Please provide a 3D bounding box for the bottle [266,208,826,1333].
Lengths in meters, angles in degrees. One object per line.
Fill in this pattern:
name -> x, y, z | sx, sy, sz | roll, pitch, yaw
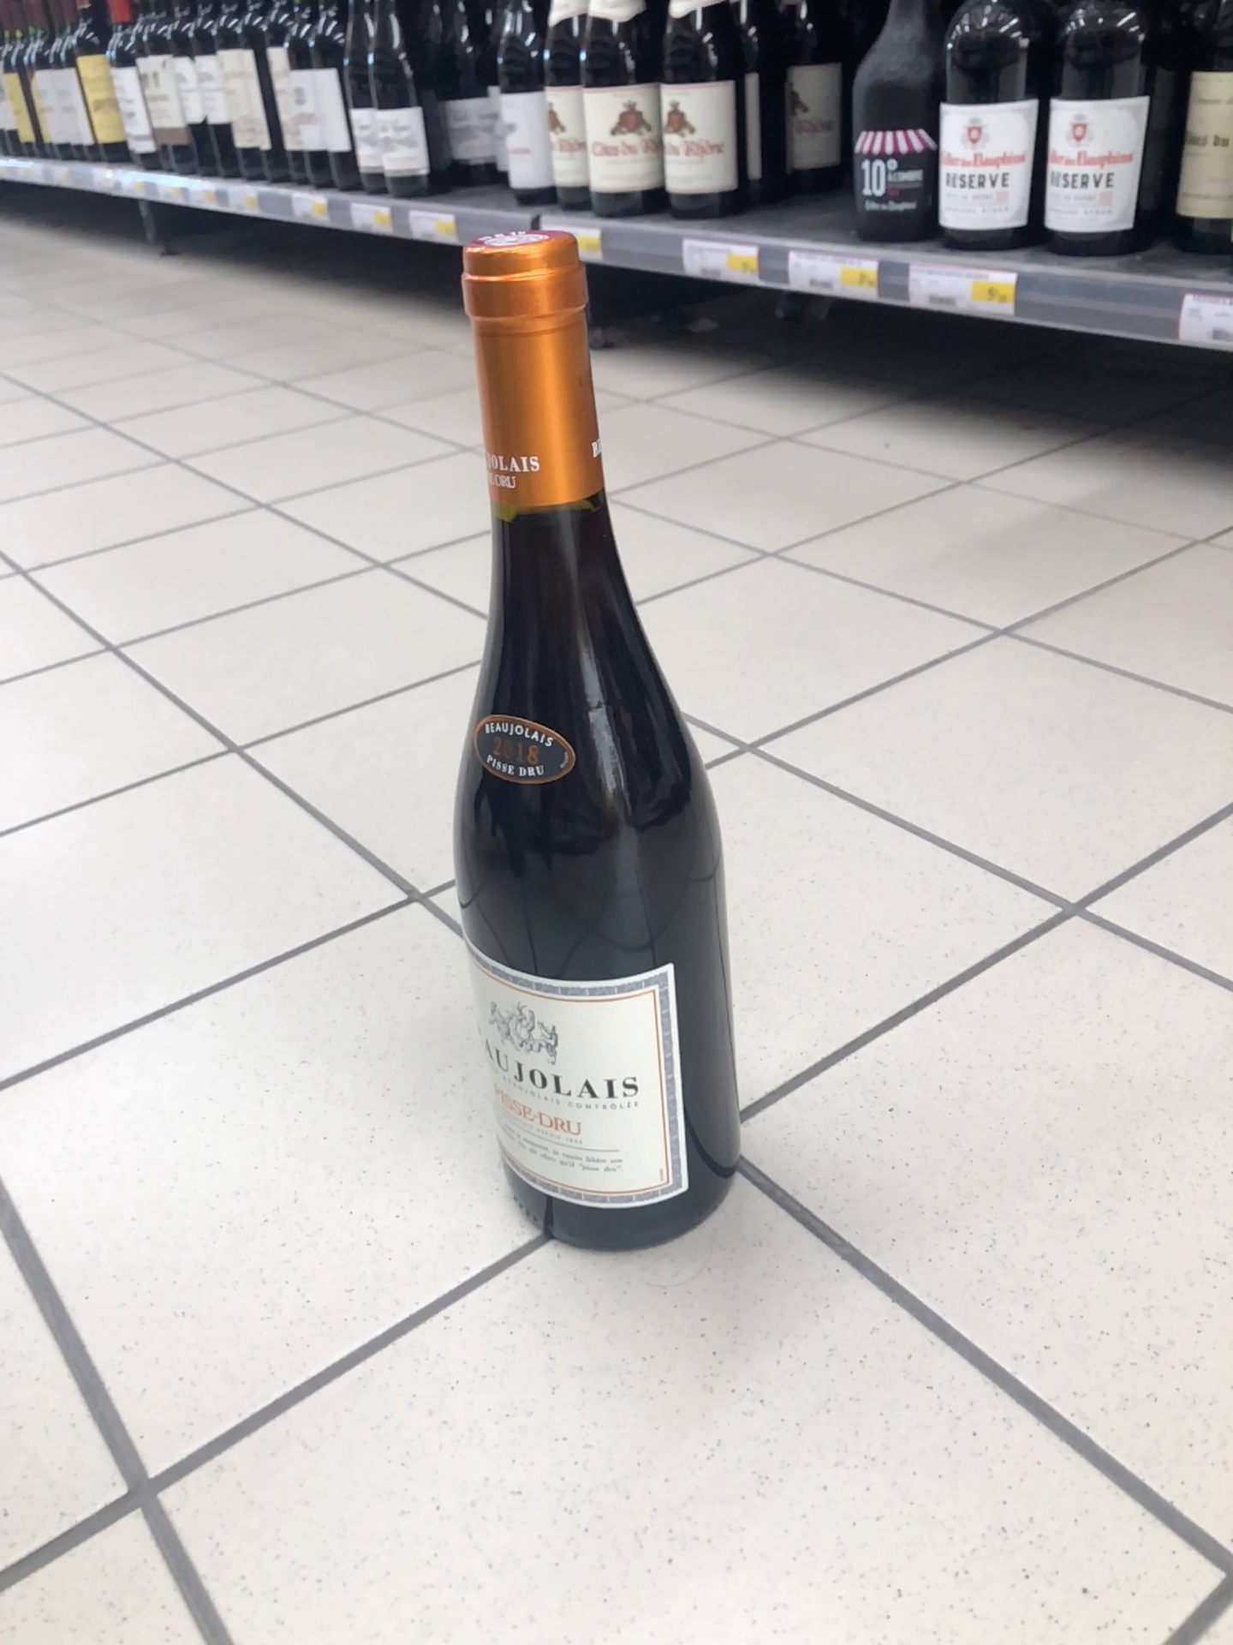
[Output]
bottle -> -0.005, -0.008, 0.381 | 0.090, 0.288, 0.090 | -4, 30, 2
